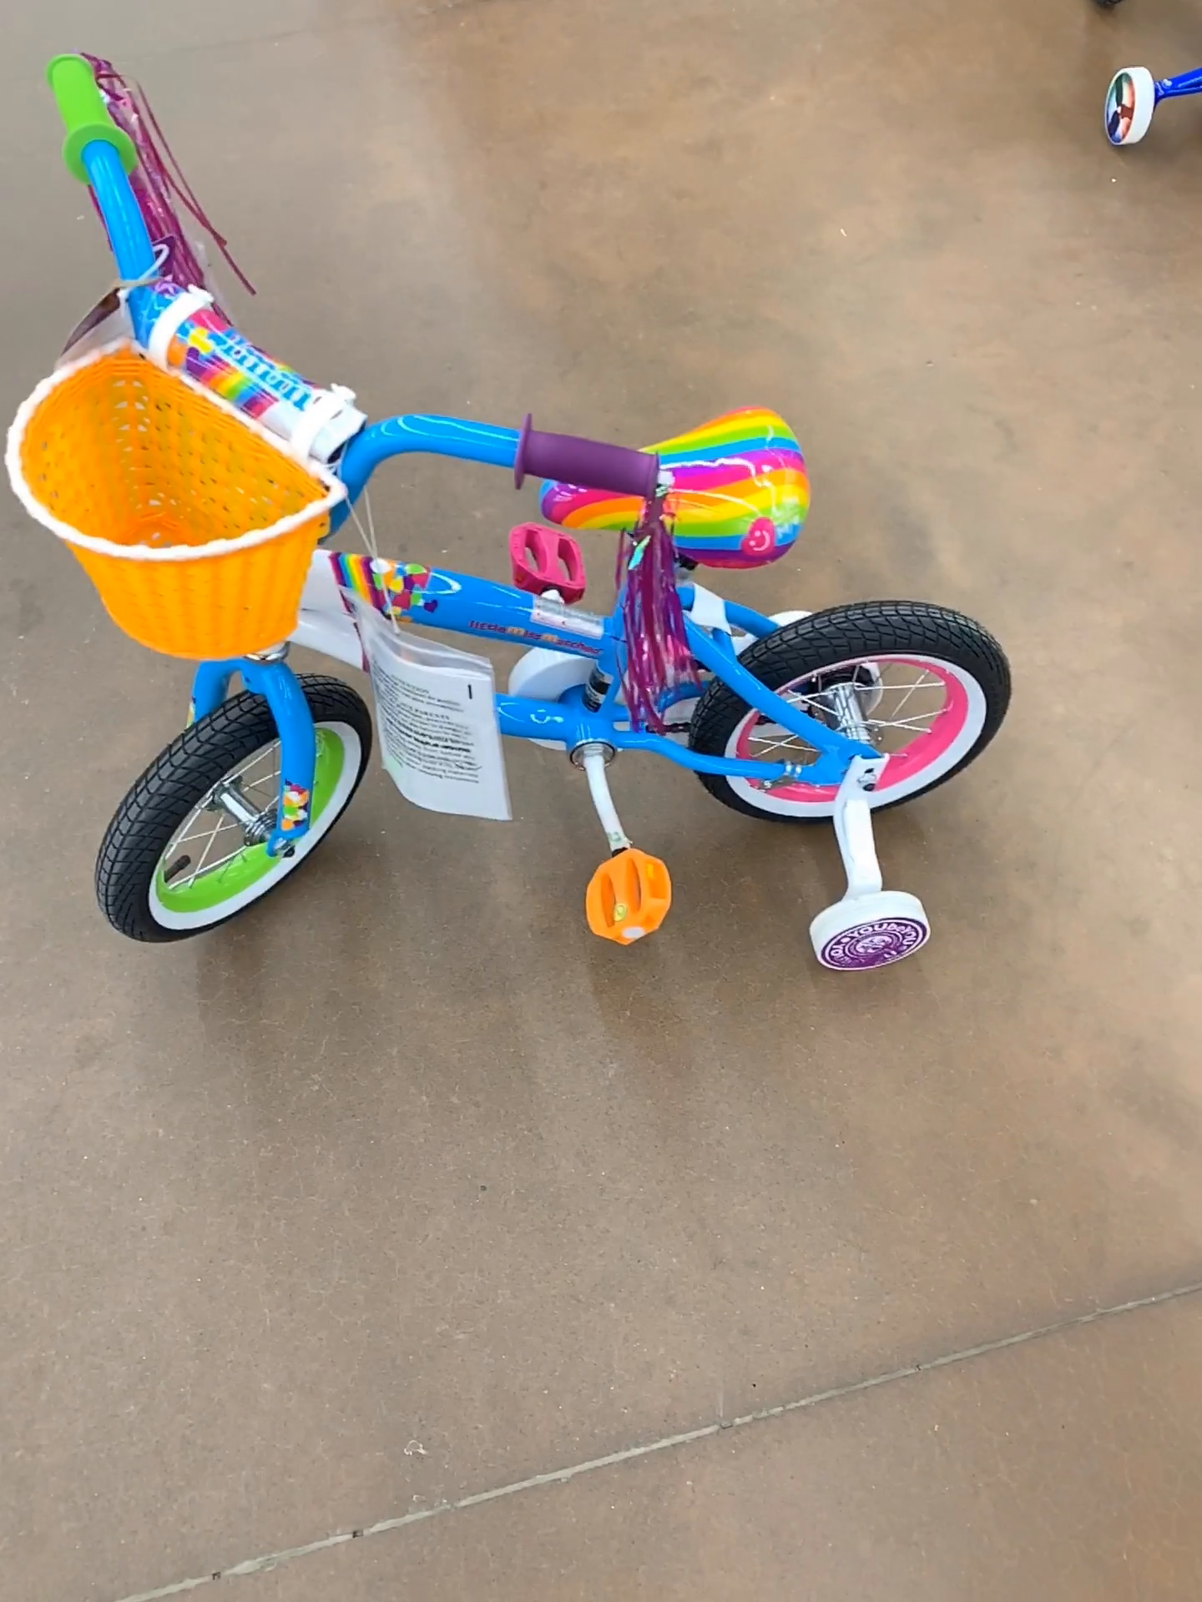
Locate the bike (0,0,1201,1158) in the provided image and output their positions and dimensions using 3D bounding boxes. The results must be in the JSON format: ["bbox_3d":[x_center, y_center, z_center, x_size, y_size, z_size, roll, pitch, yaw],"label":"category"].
[{"bbox_3d":[-0.053,-0.192,0.980,0.816,0.664,0.554,-14,55,-9],"label":"bike"}]
